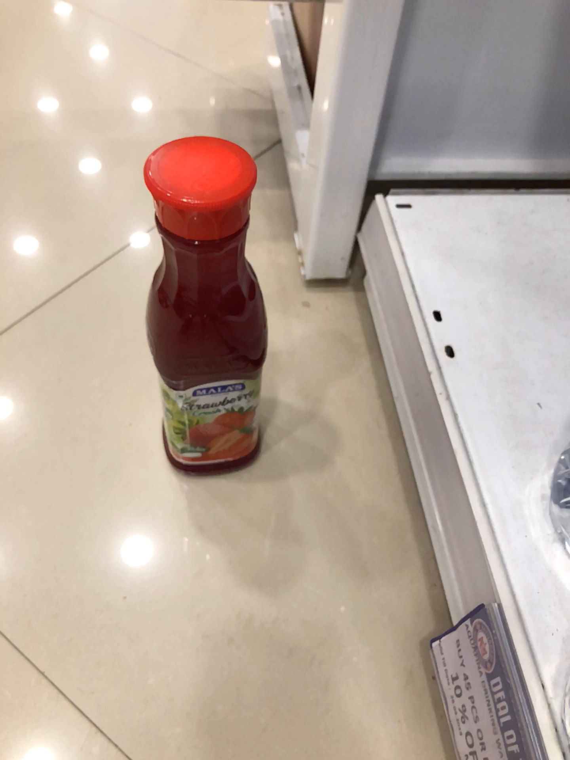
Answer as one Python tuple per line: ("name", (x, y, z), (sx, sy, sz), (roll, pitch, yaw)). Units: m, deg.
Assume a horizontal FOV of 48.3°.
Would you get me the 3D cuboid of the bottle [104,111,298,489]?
("bottle", (-0.051, -0.028, 0.391), (0.080, 0.248, 0.070), (-7, 54, -11))
